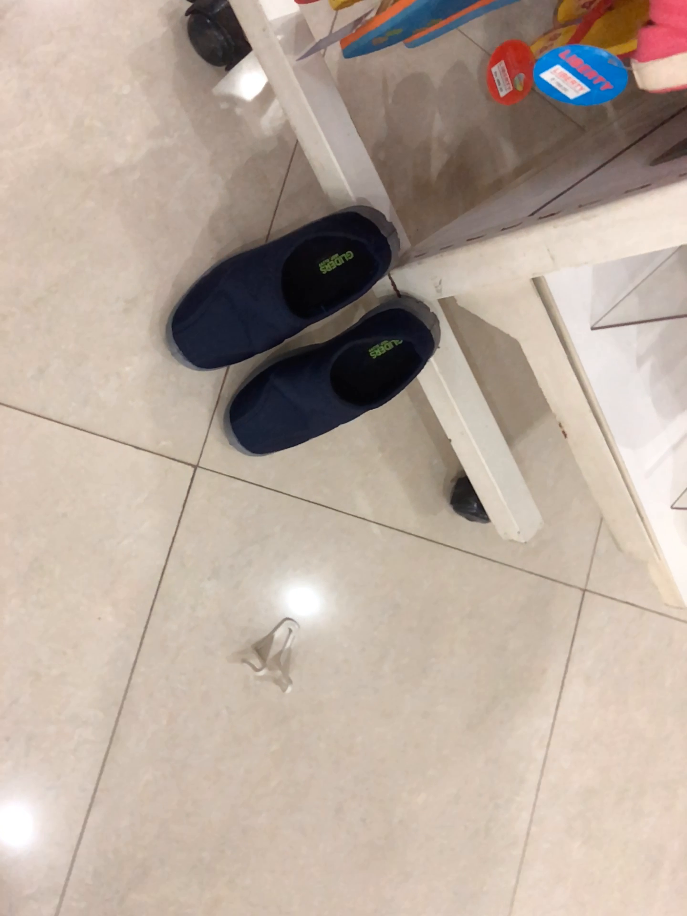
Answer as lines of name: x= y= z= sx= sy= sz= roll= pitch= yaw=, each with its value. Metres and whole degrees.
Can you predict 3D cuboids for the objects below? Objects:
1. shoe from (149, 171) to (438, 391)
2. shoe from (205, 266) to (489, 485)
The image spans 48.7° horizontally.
shoe: x=-0.053 y=-0.191 z=0.820 sx=0.288 sy=0.064 sz=0.107 roll=-30 pitch=108 yaw=-9
shoe: x=0.005 y=-0.097 z=0.849 sx=0.289 sy=0.083 sz=0.110 roll=-31 pitch=108 yaw=-12
